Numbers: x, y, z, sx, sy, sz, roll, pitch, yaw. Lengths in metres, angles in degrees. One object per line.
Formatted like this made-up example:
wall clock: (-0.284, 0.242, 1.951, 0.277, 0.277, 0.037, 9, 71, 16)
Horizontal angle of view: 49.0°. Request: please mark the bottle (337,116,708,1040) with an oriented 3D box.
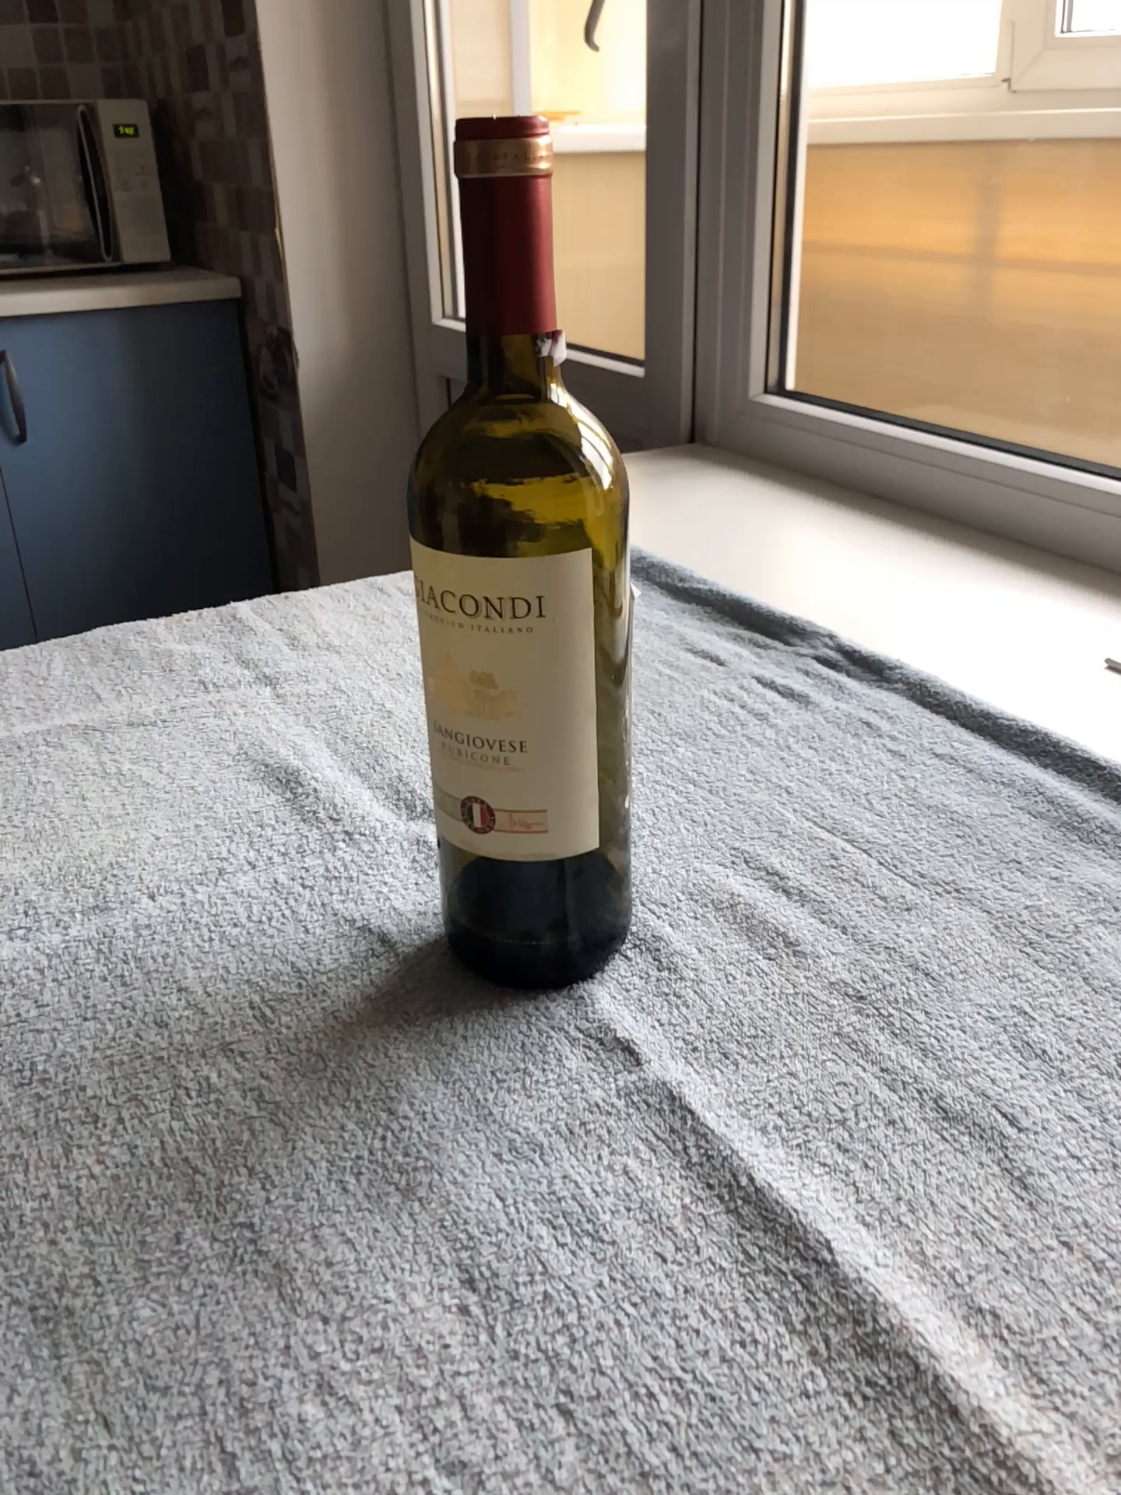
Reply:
bottle: (-0.006, -0.053, 0.433, 0.080, 0.299, 0.080, -1, 25, 1)
